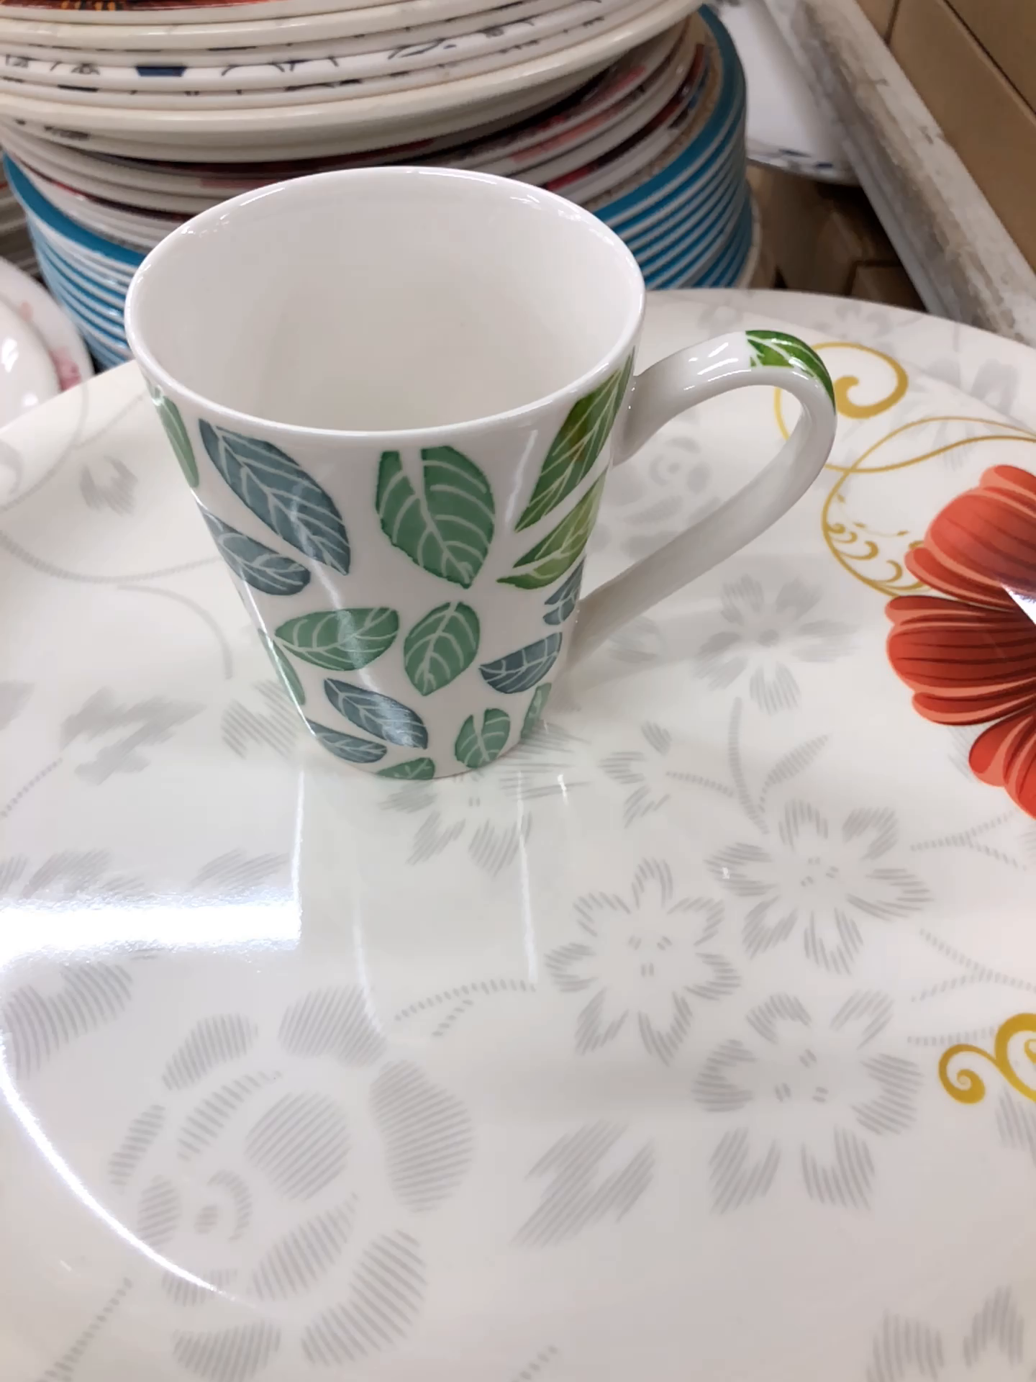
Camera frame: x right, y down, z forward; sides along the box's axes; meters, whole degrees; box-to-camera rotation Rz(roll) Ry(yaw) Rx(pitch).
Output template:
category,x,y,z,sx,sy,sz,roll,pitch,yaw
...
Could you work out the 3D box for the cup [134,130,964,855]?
category,x,y,z,sx,sy,sz,roll,pitch,yaw
cup,0.002,-0.035,0.238,0.120,0.119,0.080,-3,51,-3
